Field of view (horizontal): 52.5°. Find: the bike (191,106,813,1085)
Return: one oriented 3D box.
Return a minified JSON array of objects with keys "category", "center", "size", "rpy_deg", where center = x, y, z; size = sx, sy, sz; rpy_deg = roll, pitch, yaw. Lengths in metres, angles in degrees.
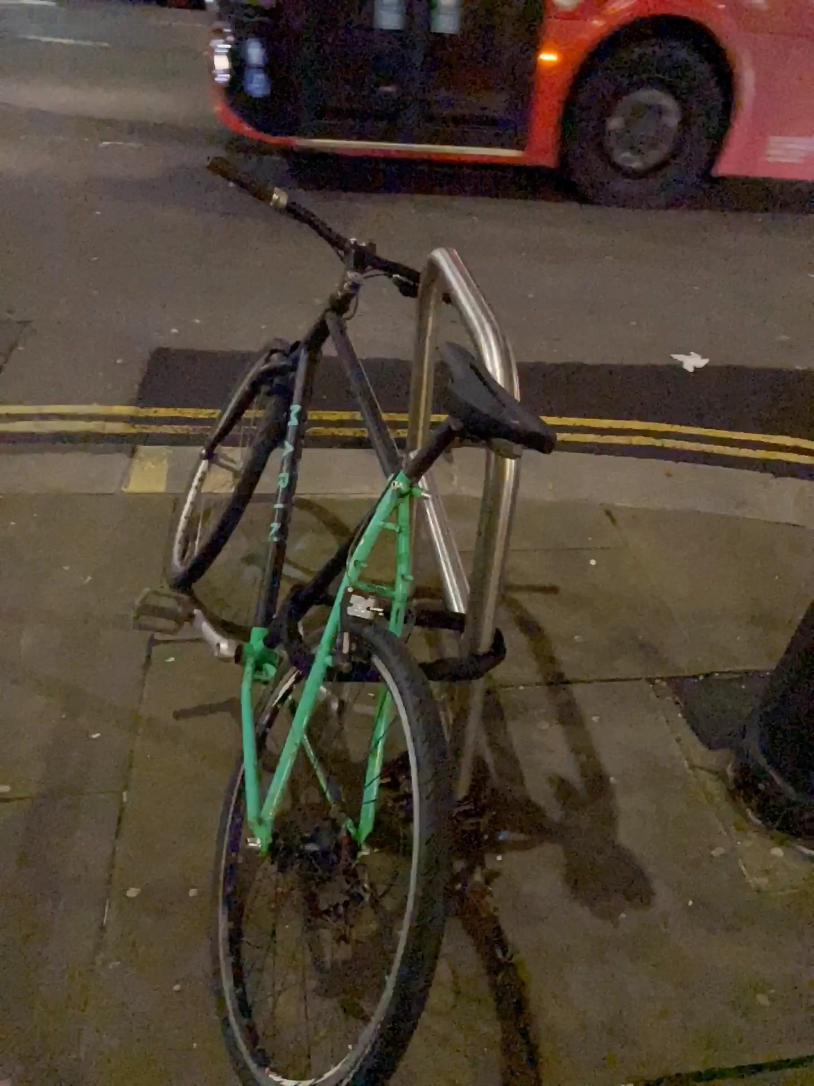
[{"category":"bike","center":[0.015,-0.080,1.522],"size":[0.639,1.014,1.695],"rpy_deg":[-6,37,-14]}]
